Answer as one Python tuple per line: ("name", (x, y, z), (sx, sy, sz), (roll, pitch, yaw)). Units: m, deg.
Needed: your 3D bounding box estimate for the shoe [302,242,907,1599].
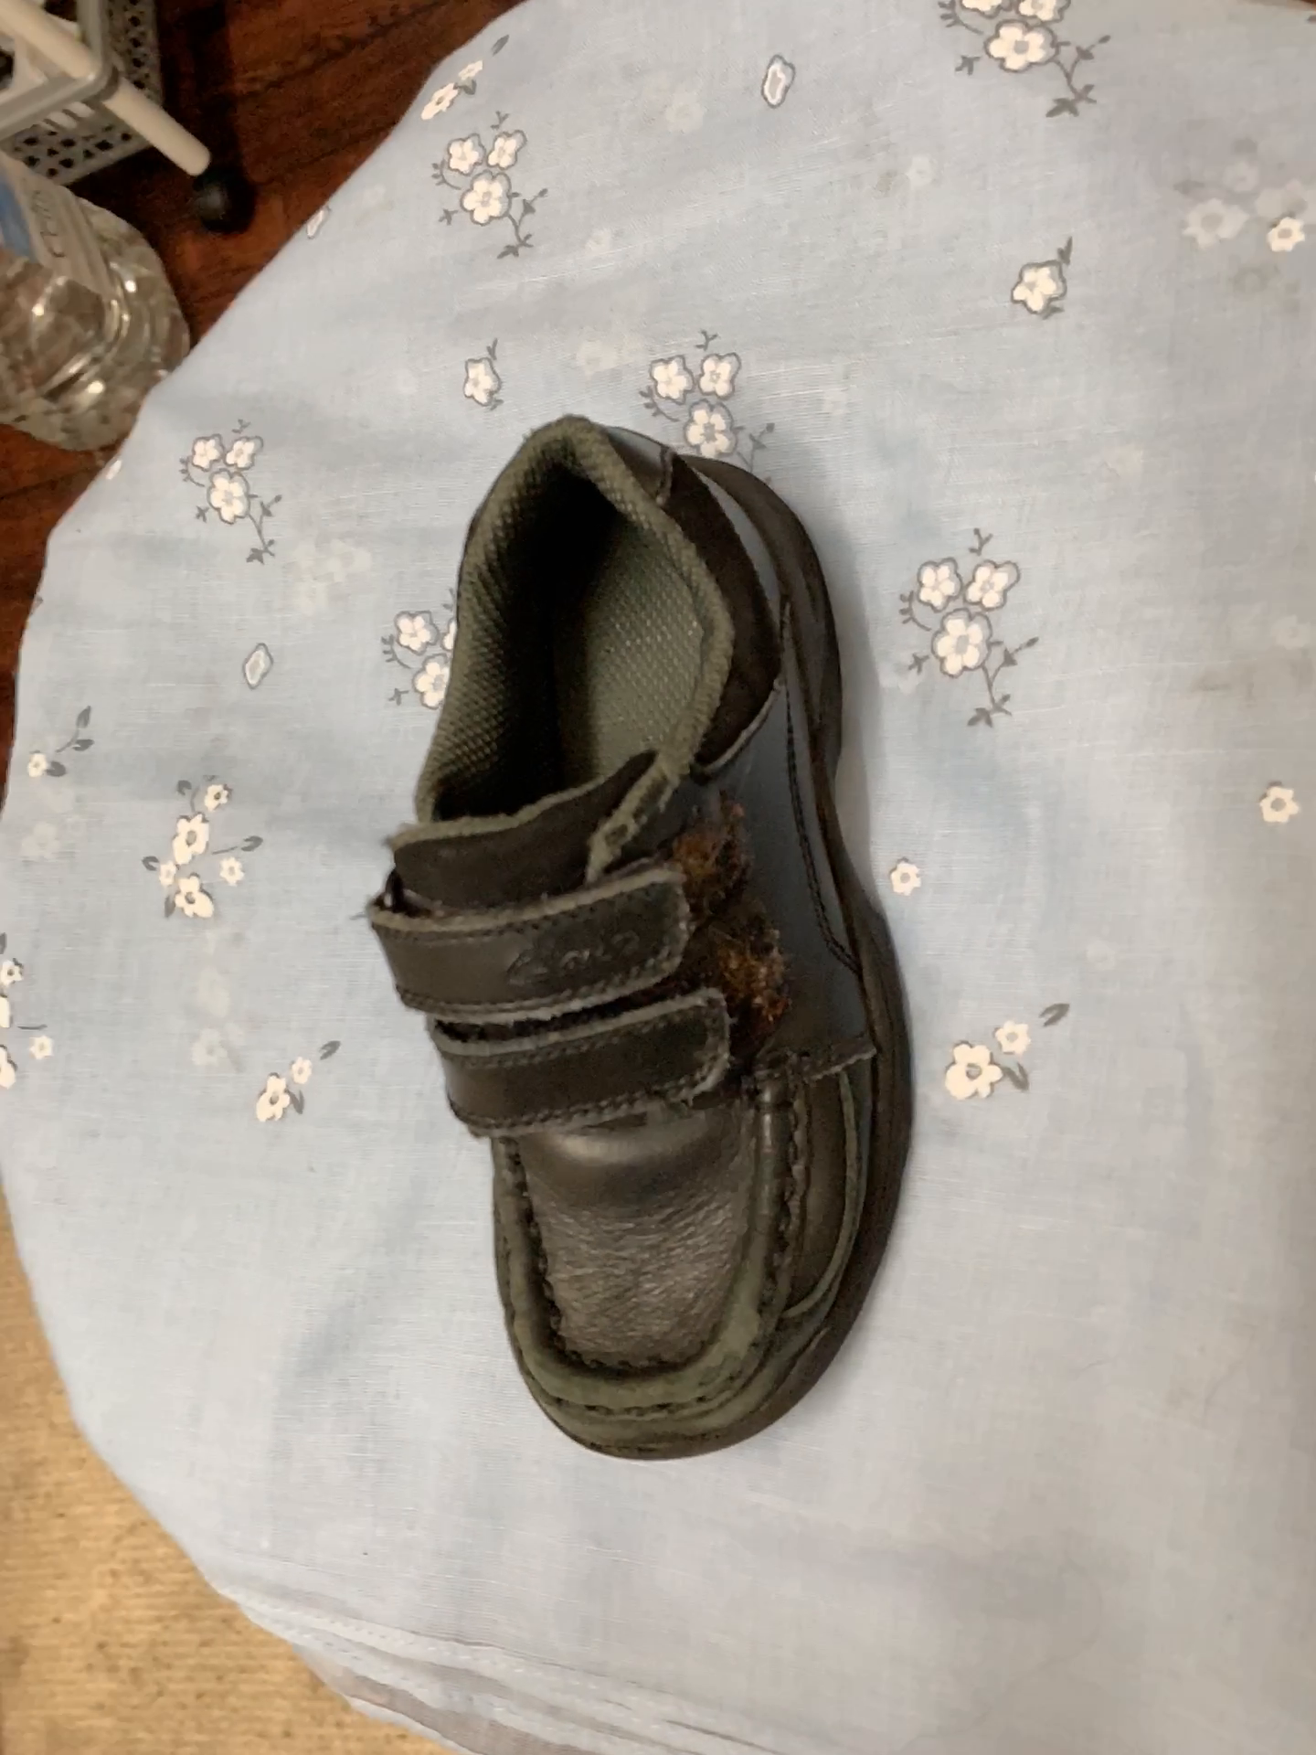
("shoe", (-0.007, 0.006, 0.237), (0.079, 0.073, 0.190), (-3, 84, 23))
